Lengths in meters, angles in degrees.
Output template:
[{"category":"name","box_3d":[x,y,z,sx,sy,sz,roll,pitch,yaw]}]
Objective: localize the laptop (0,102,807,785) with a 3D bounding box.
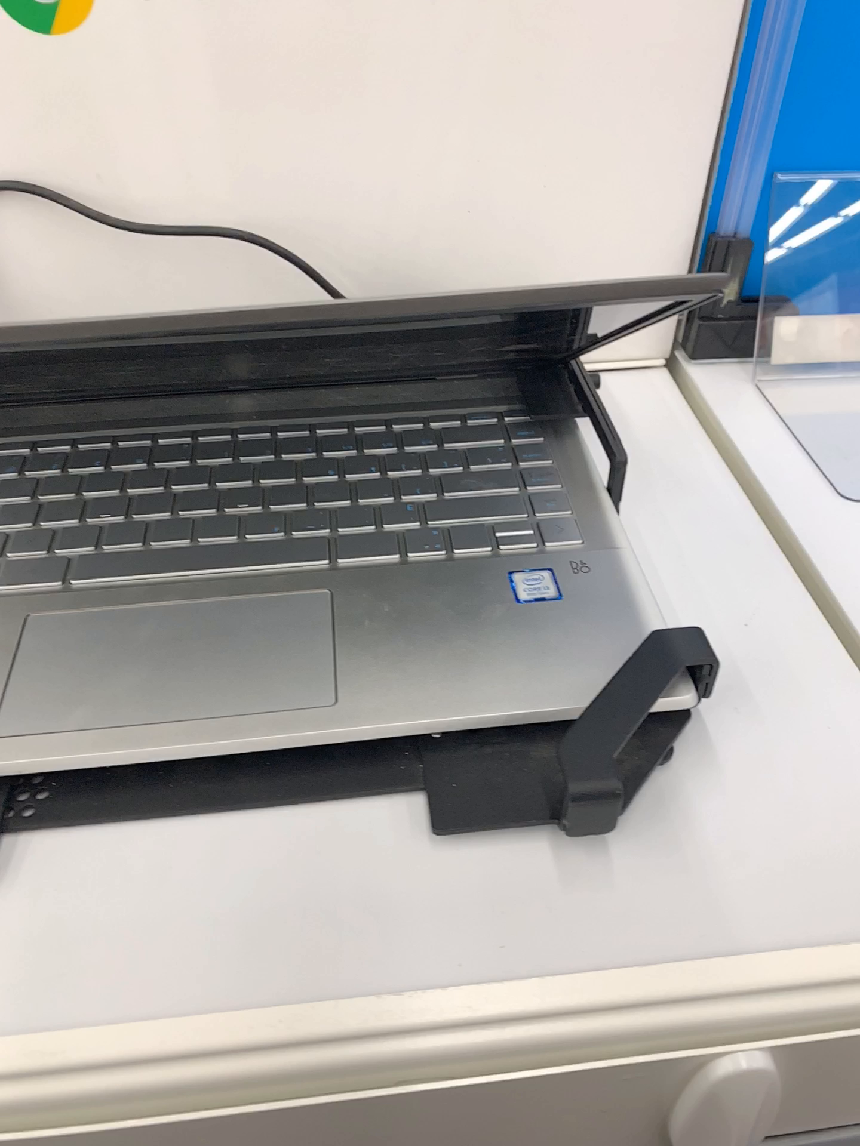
[{"category":"laptop","box_3d":[-0.074,-0.058,0.293,0.283,0.111,0.194,-5,42,-3]}]
